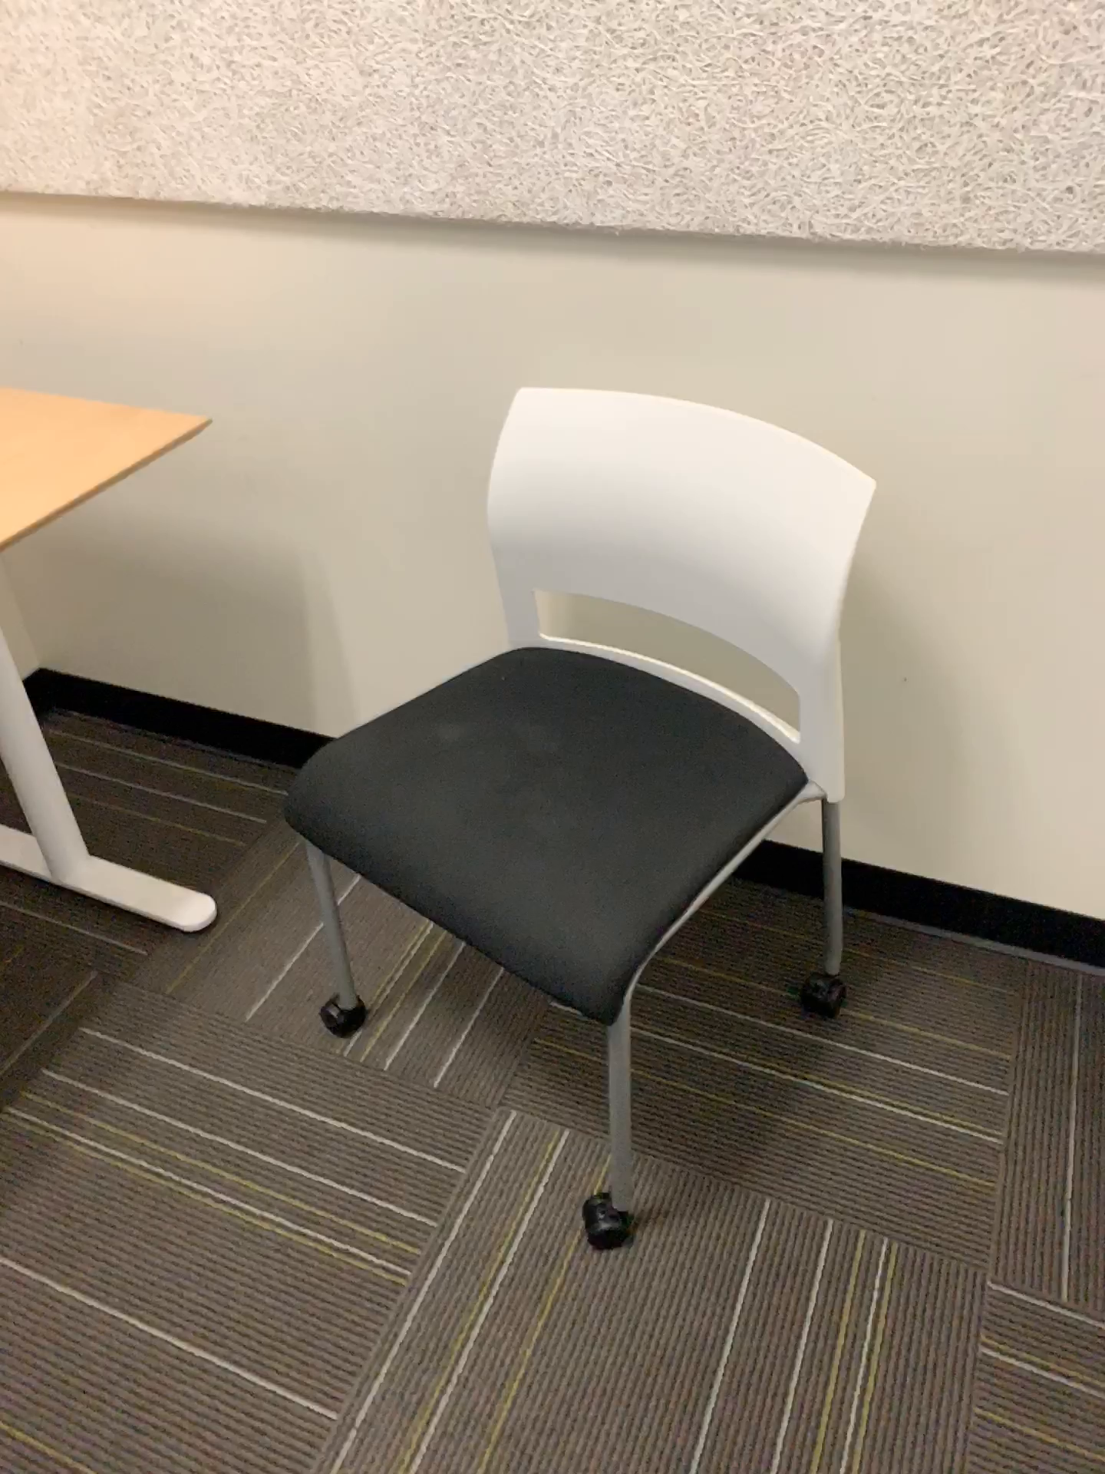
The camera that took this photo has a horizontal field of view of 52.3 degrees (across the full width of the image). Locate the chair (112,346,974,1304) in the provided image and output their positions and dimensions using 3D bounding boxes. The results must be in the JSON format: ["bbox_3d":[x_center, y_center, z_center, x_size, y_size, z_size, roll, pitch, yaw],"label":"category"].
[{"bbox_3d":[0.021,0.055,1.364,0.622,0.776,0.622,23,44,30],"label":"chair"}]
